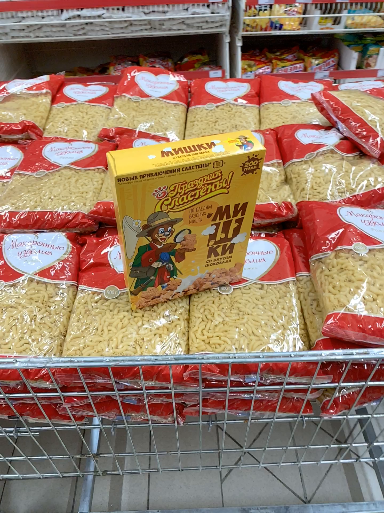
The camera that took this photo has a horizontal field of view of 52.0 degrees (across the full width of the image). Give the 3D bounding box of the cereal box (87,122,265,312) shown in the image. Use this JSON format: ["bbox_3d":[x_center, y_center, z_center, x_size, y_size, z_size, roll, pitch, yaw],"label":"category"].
[{"bbox_3d":[-0.017,-0.036,0.474,0.170,0.218,0.050,-14,50,-14],"label":"cereal box"}]
